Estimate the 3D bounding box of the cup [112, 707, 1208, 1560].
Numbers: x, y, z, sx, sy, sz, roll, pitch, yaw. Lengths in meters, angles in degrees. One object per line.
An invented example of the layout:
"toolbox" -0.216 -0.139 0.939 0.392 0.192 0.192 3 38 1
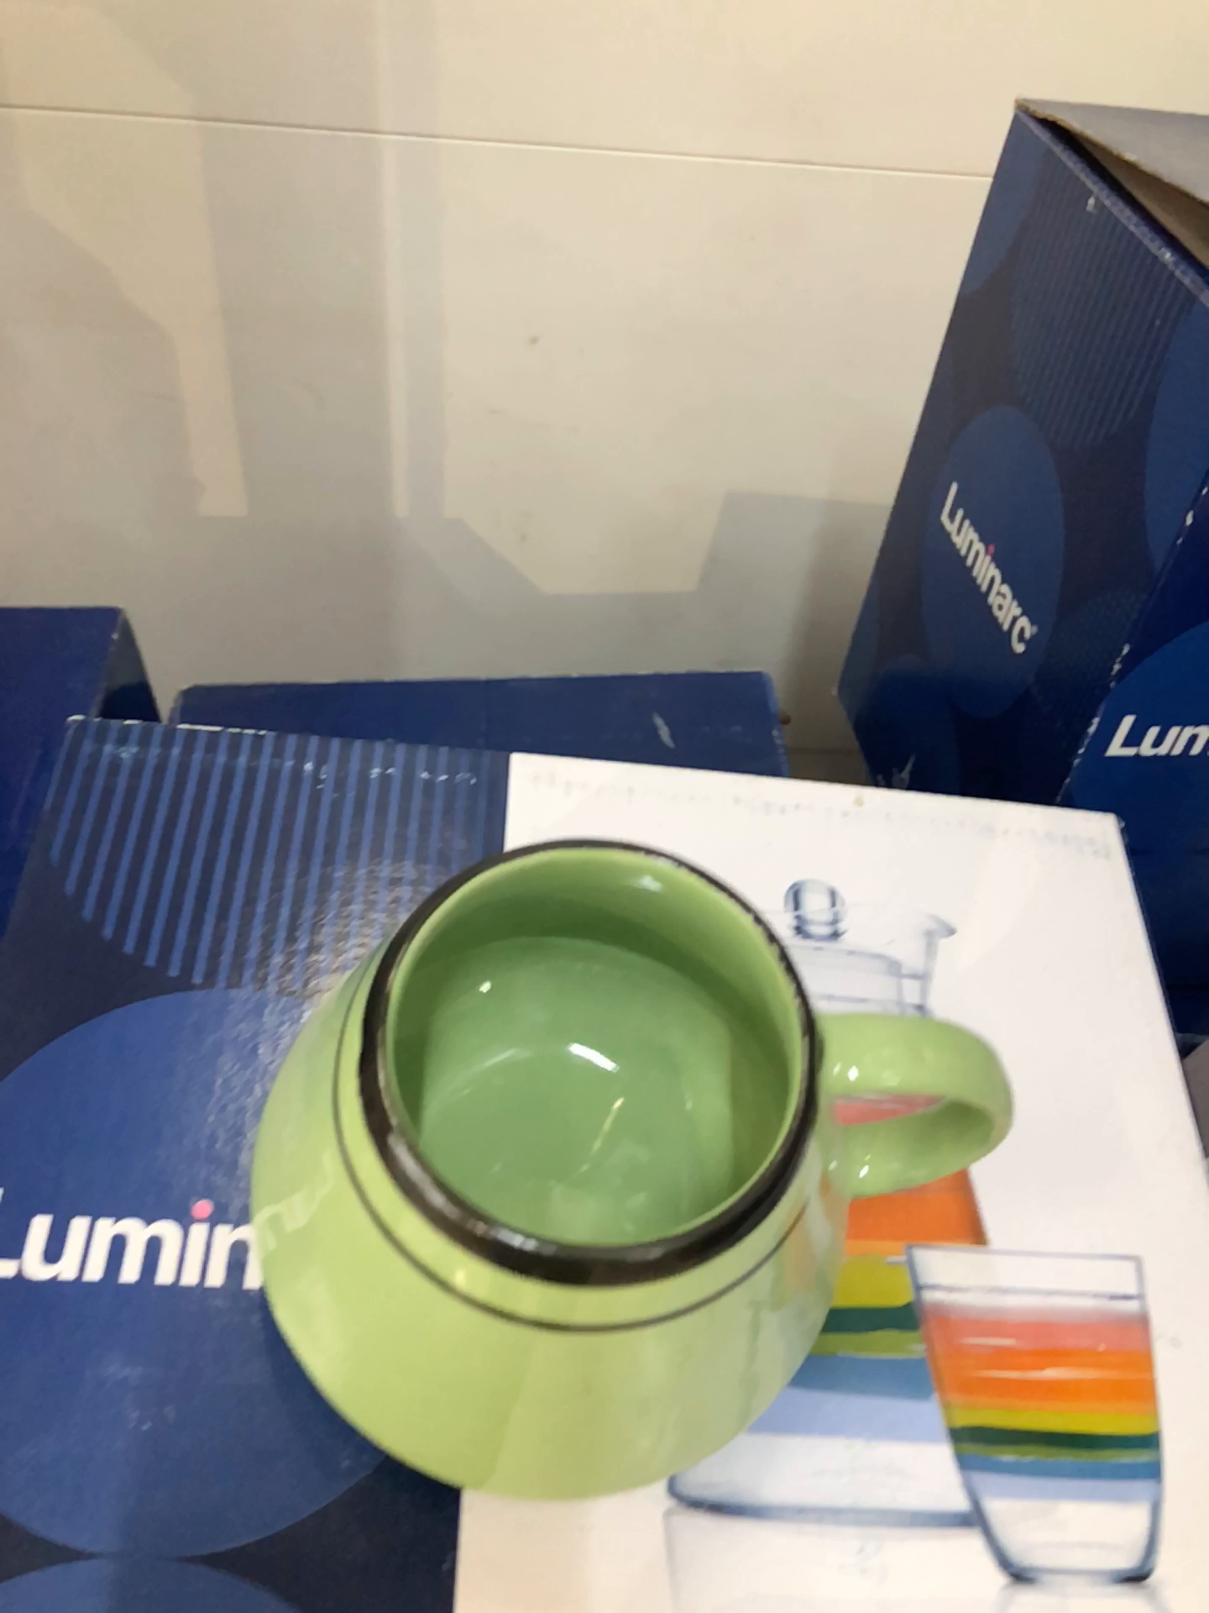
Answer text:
"cup" 0.010 0.052 0.226 0.140 0.070 0.111 5 48 -2
